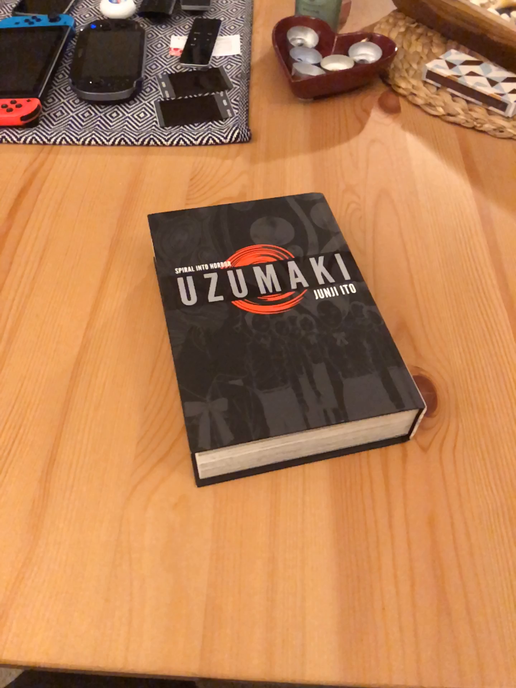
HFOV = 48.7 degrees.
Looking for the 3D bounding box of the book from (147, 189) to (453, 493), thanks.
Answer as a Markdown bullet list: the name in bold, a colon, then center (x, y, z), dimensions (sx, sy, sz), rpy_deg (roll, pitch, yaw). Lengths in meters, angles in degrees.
- **book**: center (0.015, -0.016, 0.402), dimensions (0.157, 0.048, 0.204), rpy_deg (-10, 54, -10)
